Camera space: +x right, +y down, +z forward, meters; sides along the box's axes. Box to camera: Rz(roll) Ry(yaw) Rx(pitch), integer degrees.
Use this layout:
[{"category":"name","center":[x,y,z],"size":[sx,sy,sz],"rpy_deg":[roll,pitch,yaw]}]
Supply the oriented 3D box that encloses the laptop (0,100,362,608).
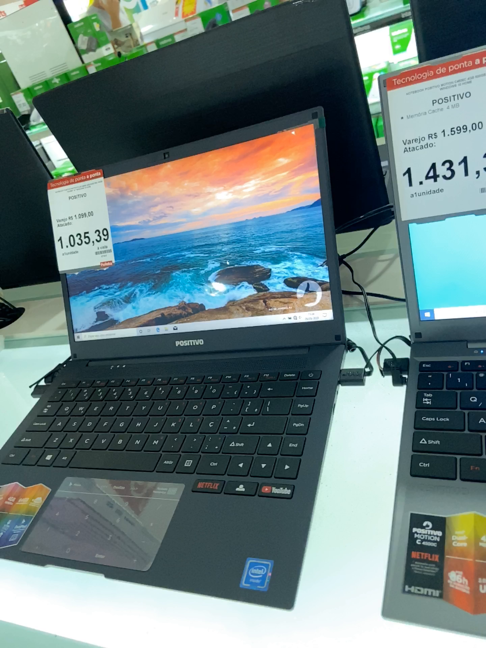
[{"category":"laptop","center":[-0.102,-0.004,0.441],"size":[0.334,0.175,0.355],"rpy_deg":[-5,38,26]}]
